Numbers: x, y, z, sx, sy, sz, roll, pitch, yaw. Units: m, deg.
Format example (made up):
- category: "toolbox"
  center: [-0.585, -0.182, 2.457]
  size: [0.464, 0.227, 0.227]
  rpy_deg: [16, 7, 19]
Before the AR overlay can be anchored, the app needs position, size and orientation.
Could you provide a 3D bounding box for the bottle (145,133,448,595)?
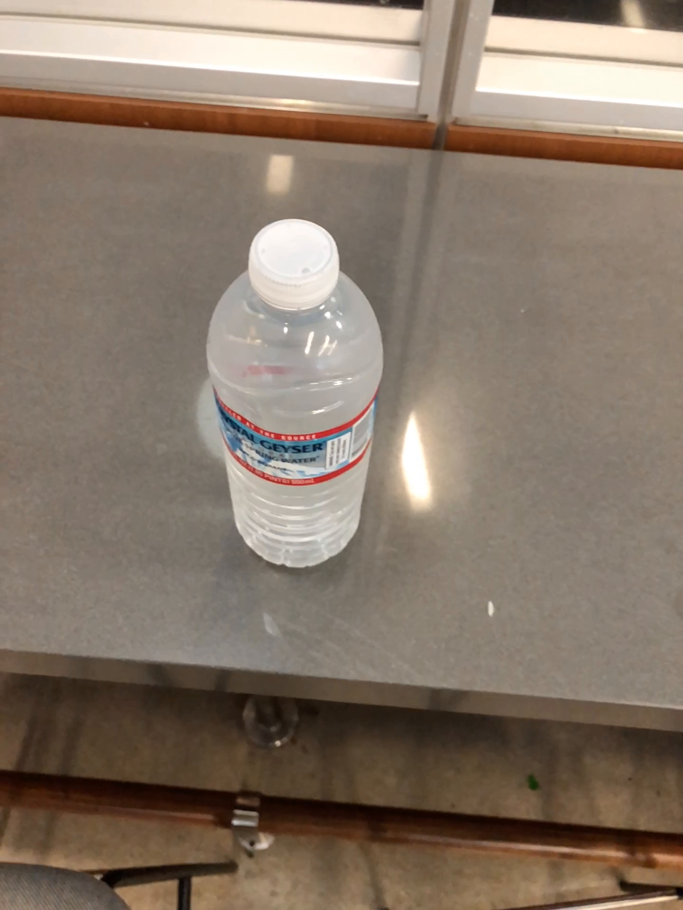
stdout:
- category: "bottle"
  center: [-0.015, -0.020, 0.316]
  size: [0.070, 0.190, 0.070]
  rpy_deg: [1, 59, -1]
